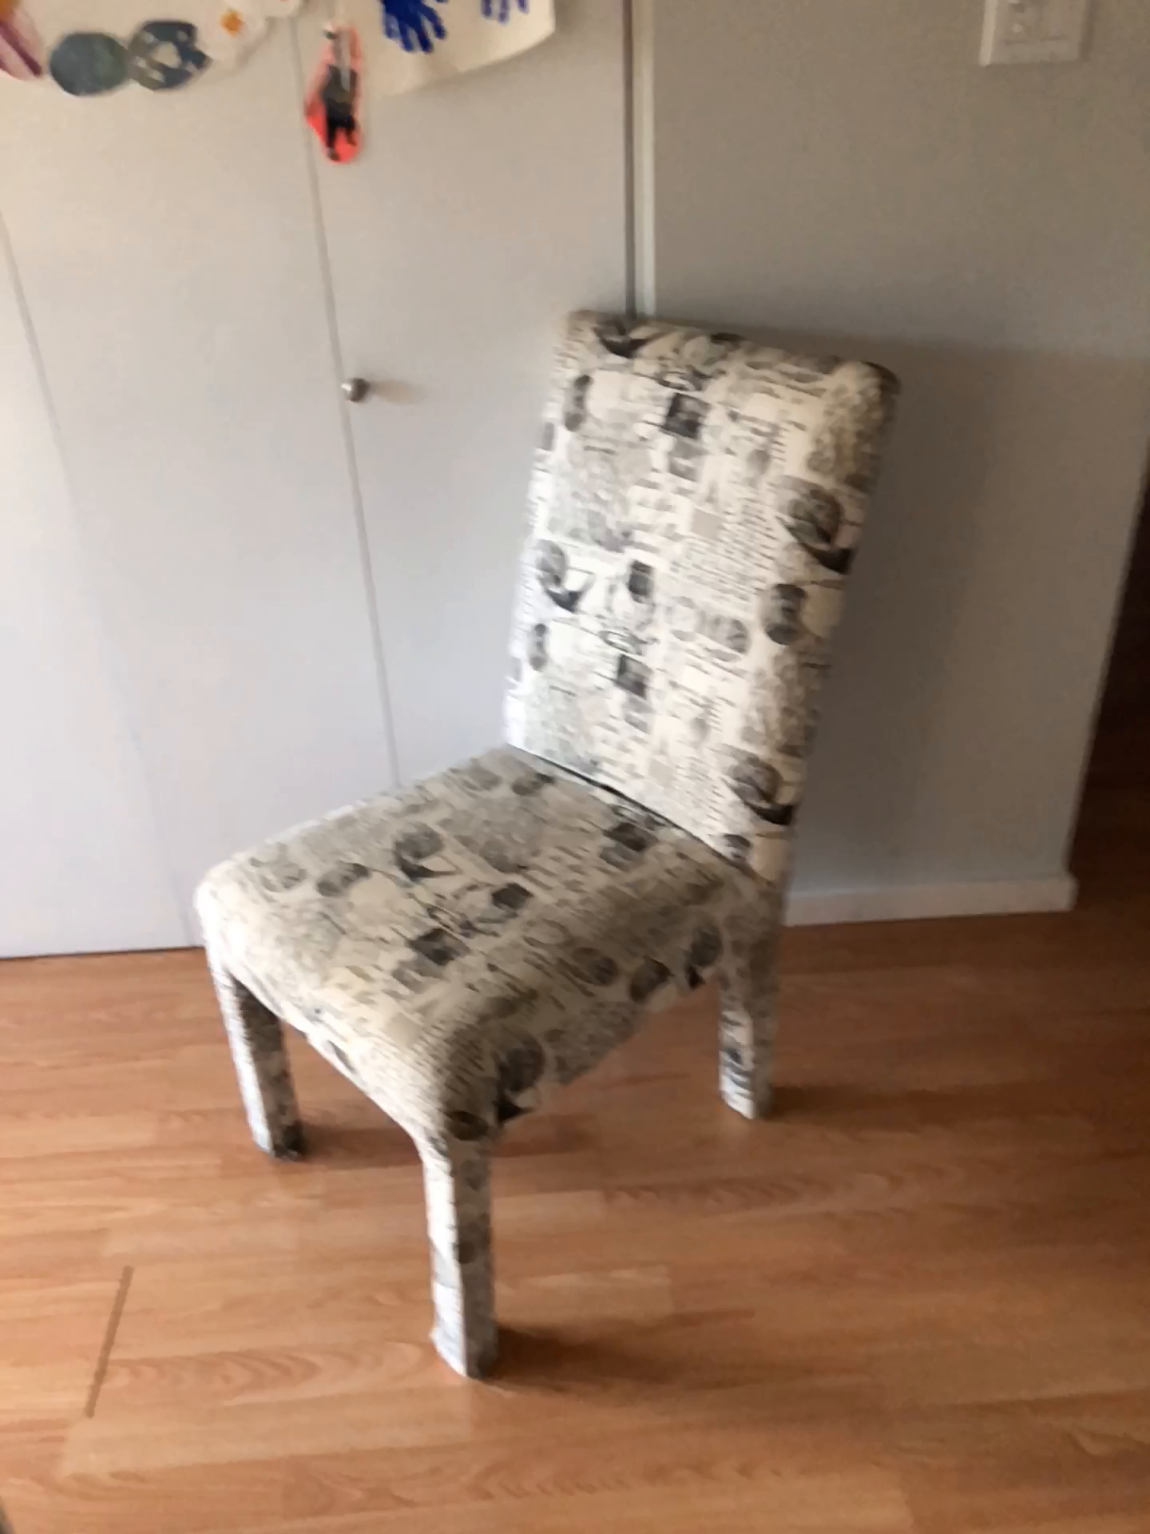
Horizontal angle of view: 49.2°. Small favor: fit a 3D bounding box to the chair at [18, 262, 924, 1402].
[{"bbox_3d":[-0.070,0.033,1.440,0.671,0.997,0.521,-27,40,-34],"label":"chair"}]
